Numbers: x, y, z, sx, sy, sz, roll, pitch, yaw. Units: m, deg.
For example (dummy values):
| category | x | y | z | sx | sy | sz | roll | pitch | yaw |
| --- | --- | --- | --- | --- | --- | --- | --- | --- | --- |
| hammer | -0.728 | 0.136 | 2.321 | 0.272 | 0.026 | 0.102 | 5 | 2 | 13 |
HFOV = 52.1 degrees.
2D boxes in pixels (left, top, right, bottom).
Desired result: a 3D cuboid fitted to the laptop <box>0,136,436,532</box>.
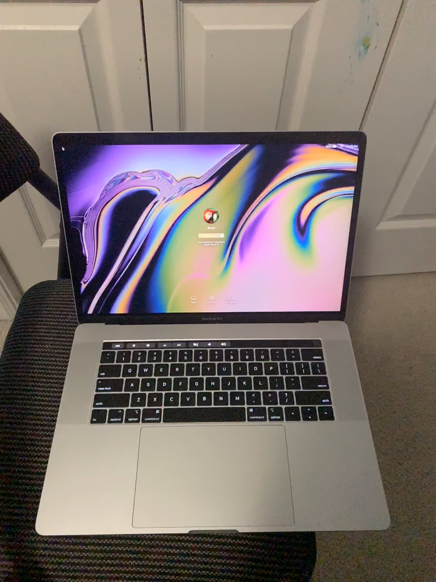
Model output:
| category | x | y | z | sx | sy | sz | roll | pitch | yaw |
| --- | --- | --- | --- | --- | --- | --- | --- | --- | --- |
| laptop | -0.003 | 0.032 | 0.455 | 0.342 | 0.195 | 0.353 | 0 | 53 | -1 |
